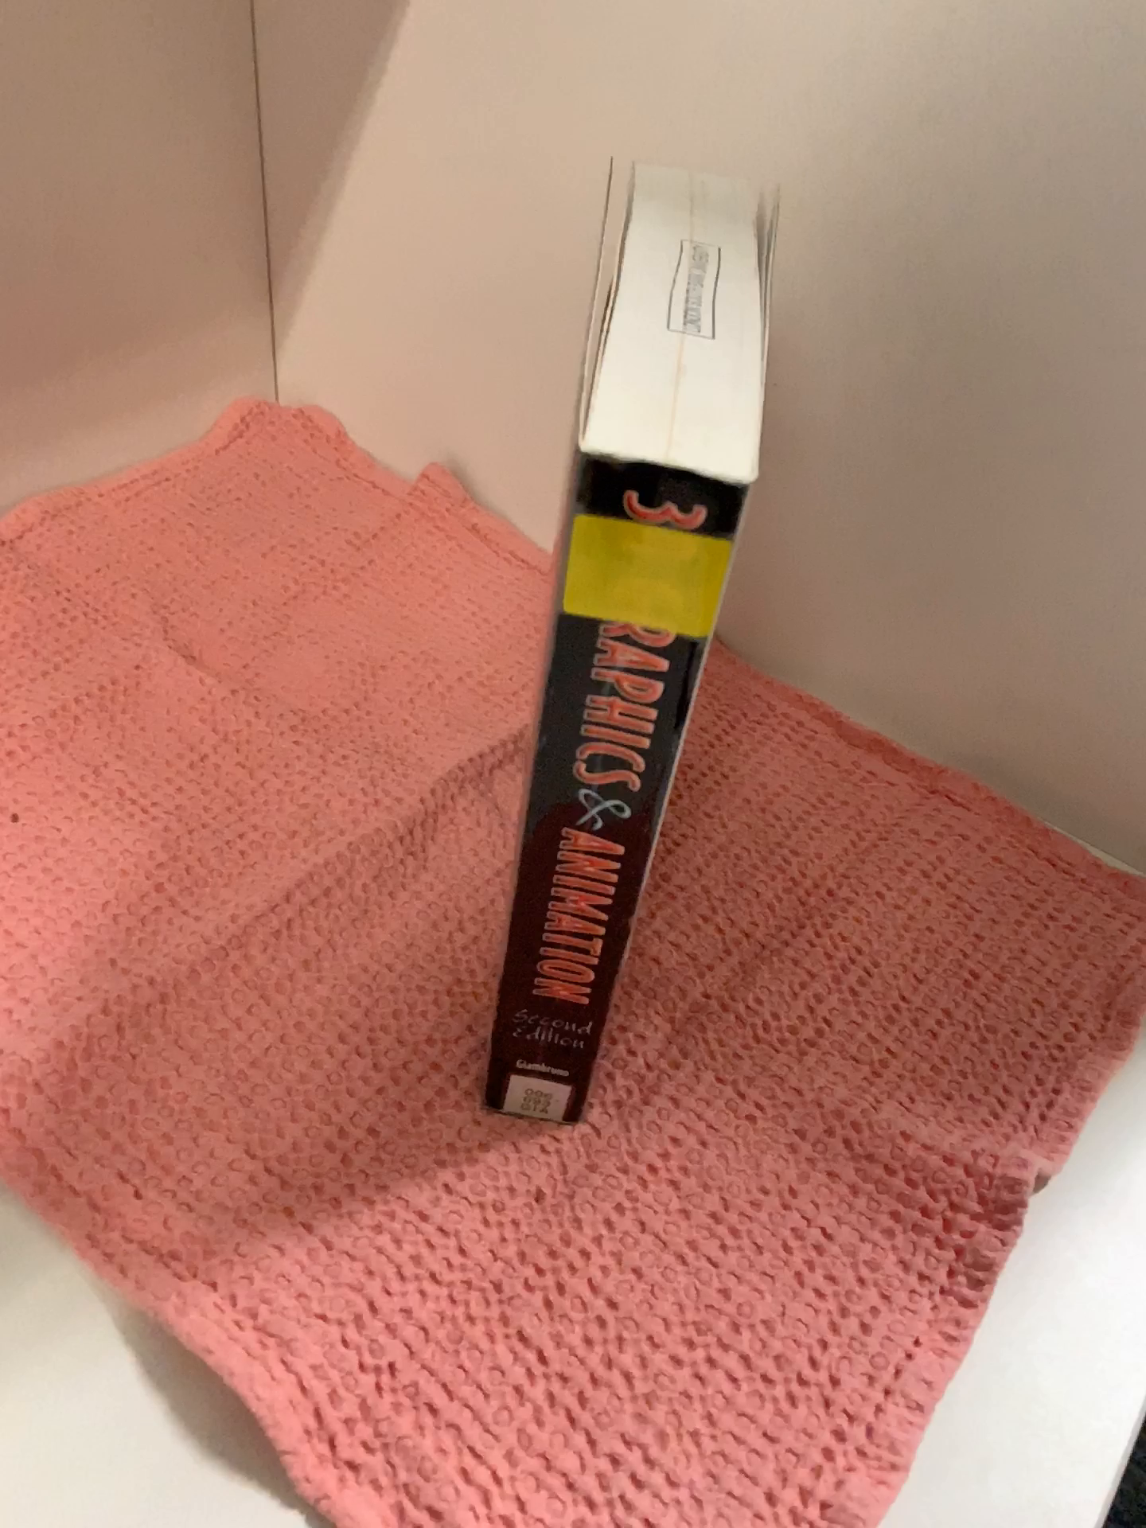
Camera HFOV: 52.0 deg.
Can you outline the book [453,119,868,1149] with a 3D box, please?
[{"bbox_3d":[0.018,-0.043,0.368,0.060,0.228,0.222,9,42,-1],"label":"book"}]
